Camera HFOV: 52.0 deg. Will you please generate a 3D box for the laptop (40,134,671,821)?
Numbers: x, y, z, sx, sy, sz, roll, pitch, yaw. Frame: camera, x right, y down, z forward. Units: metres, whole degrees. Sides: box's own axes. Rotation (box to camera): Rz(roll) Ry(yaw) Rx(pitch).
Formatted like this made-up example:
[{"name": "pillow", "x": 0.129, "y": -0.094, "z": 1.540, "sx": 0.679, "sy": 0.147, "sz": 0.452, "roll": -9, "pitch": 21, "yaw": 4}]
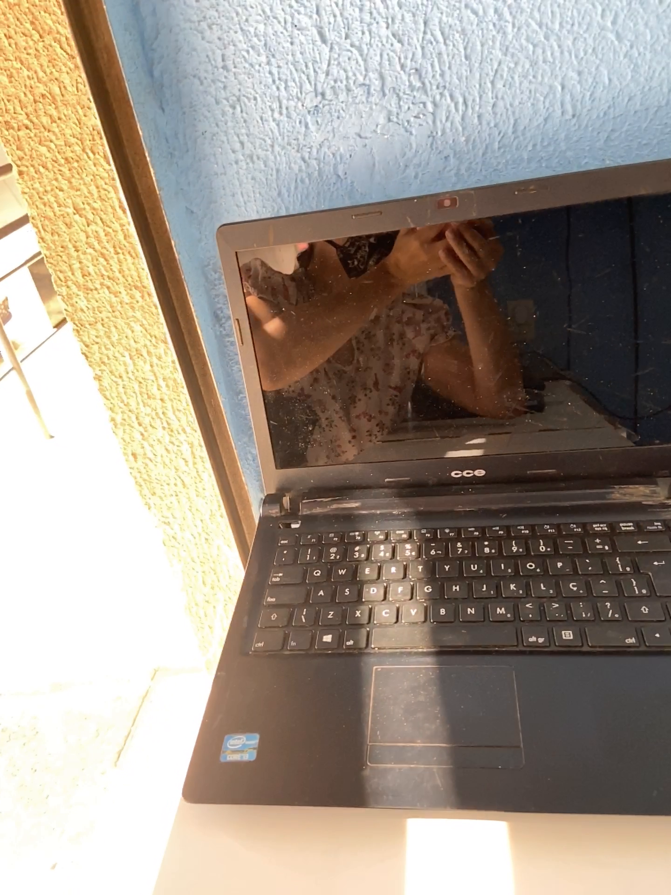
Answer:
[{"name": "laptop", "x": 0.078, "y": -0.005, "z": 0.416, "sx": 0.333, "sy": 0.211, "sz": 0.314, "roll": -4, "pitch": 36, "yaw": 12}]
